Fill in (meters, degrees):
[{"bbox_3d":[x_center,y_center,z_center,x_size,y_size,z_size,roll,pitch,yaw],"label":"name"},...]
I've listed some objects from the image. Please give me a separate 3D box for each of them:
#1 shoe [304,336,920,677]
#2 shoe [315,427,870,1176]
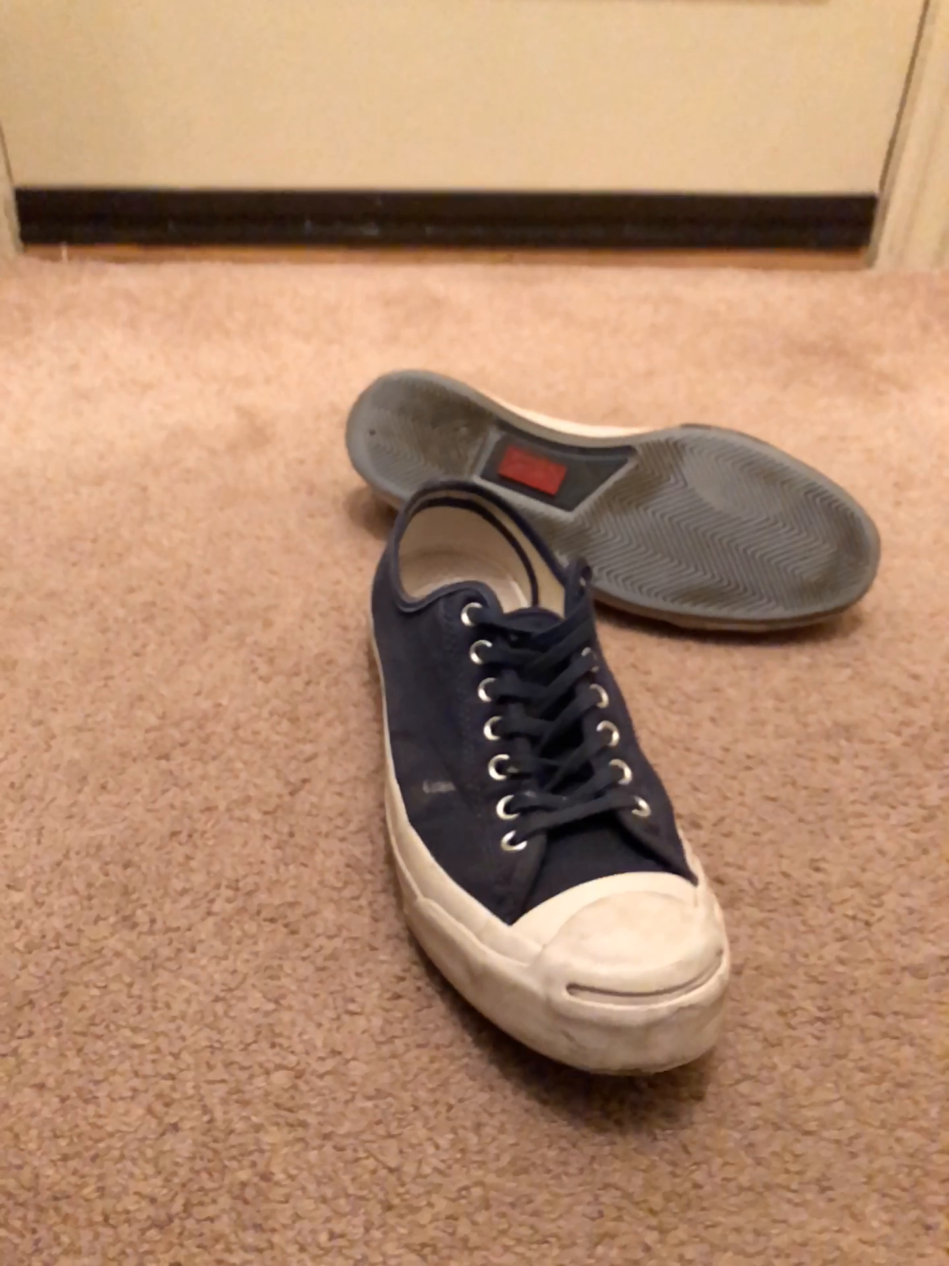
[{"bbox_3d":[0.070,-0.074,0.577,0.296,0.104,0.099,16,11,16],"label":"shoe"},{"bbox_3d":[0.015,0.032,0.411,0.116,0.098,0.288,-6,38,-12],"label":"shoe"}]
